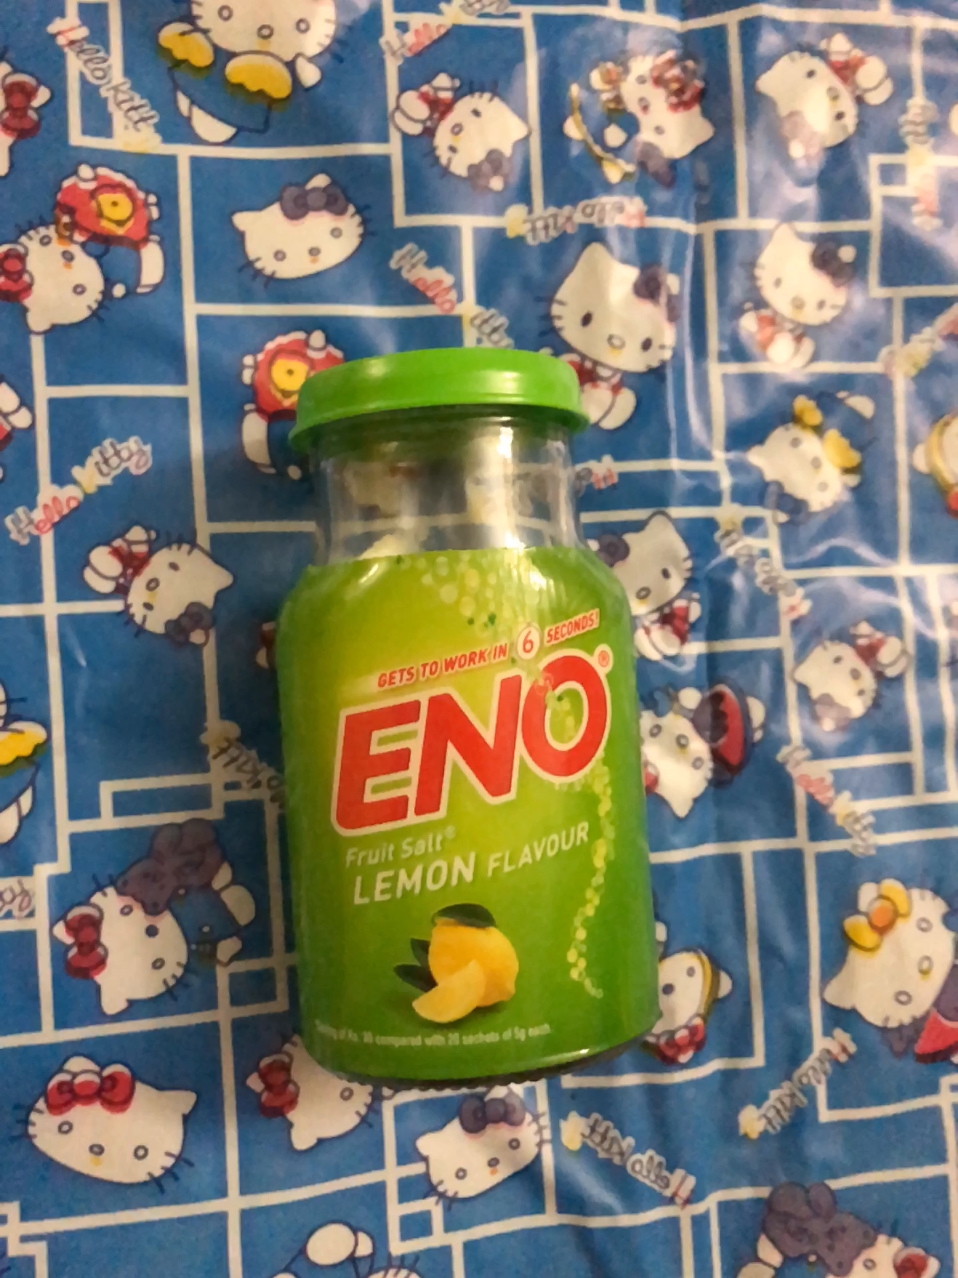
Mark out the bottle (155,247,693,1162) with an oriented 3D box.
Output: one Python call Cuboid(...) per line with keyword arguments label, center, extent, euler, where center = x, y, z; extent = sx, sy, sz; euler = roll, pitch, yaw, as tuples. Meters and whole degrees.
Cuboid(label="bottle", center=(-0.009, 0.006, 0.160), extent=(0.060, 0.050, 0.110), euler=(-5, 94, -10))
